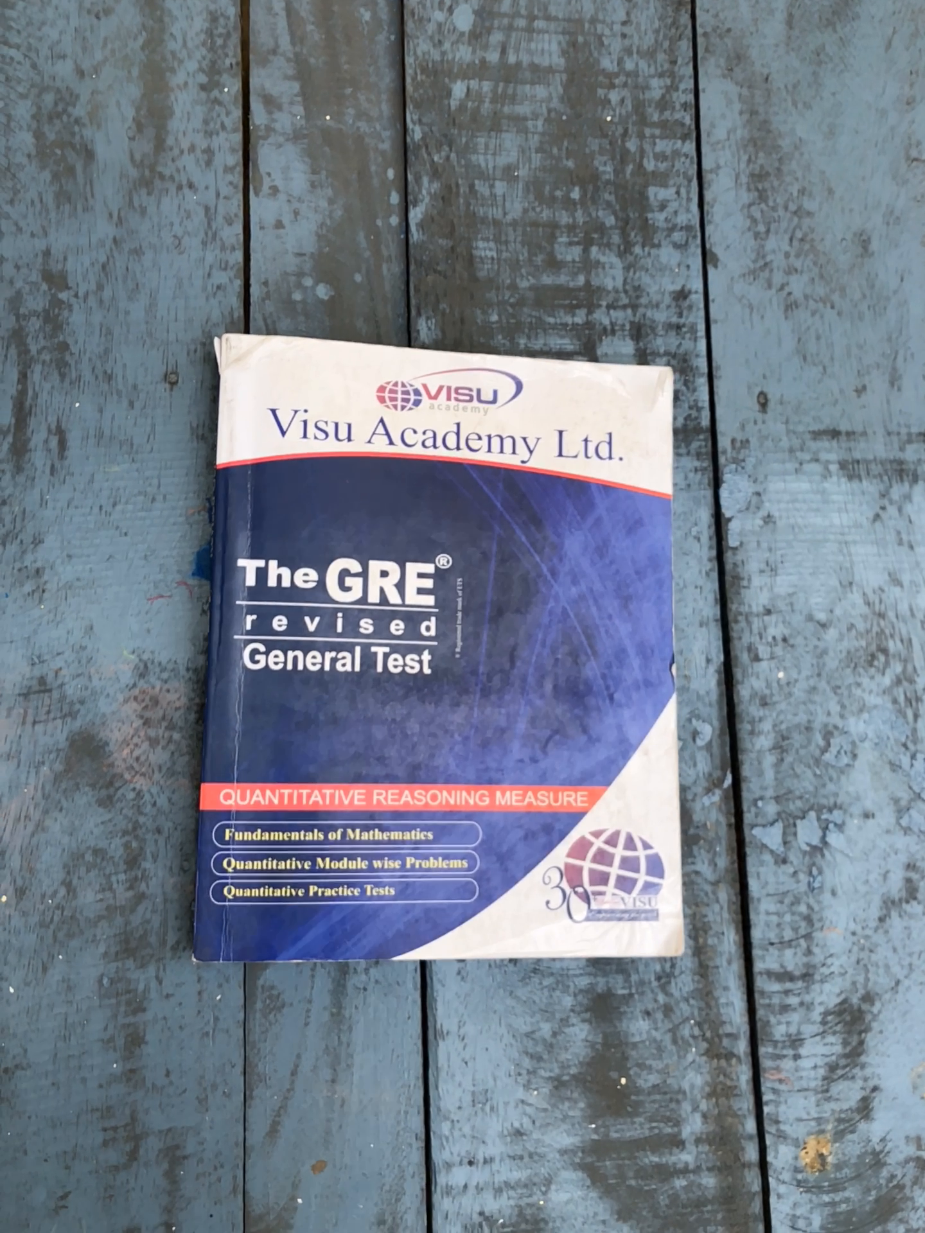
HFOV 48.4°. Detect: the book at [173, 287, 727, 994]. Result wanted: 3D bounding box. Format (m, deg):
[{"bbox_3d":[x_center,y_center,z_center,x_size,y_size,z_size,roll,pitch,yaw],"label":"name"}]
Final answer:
[{"bbox_3d":[-0.003,0.010,0.461,0.220,0.060,0.290,2,79,-8],"label":"book"}]
